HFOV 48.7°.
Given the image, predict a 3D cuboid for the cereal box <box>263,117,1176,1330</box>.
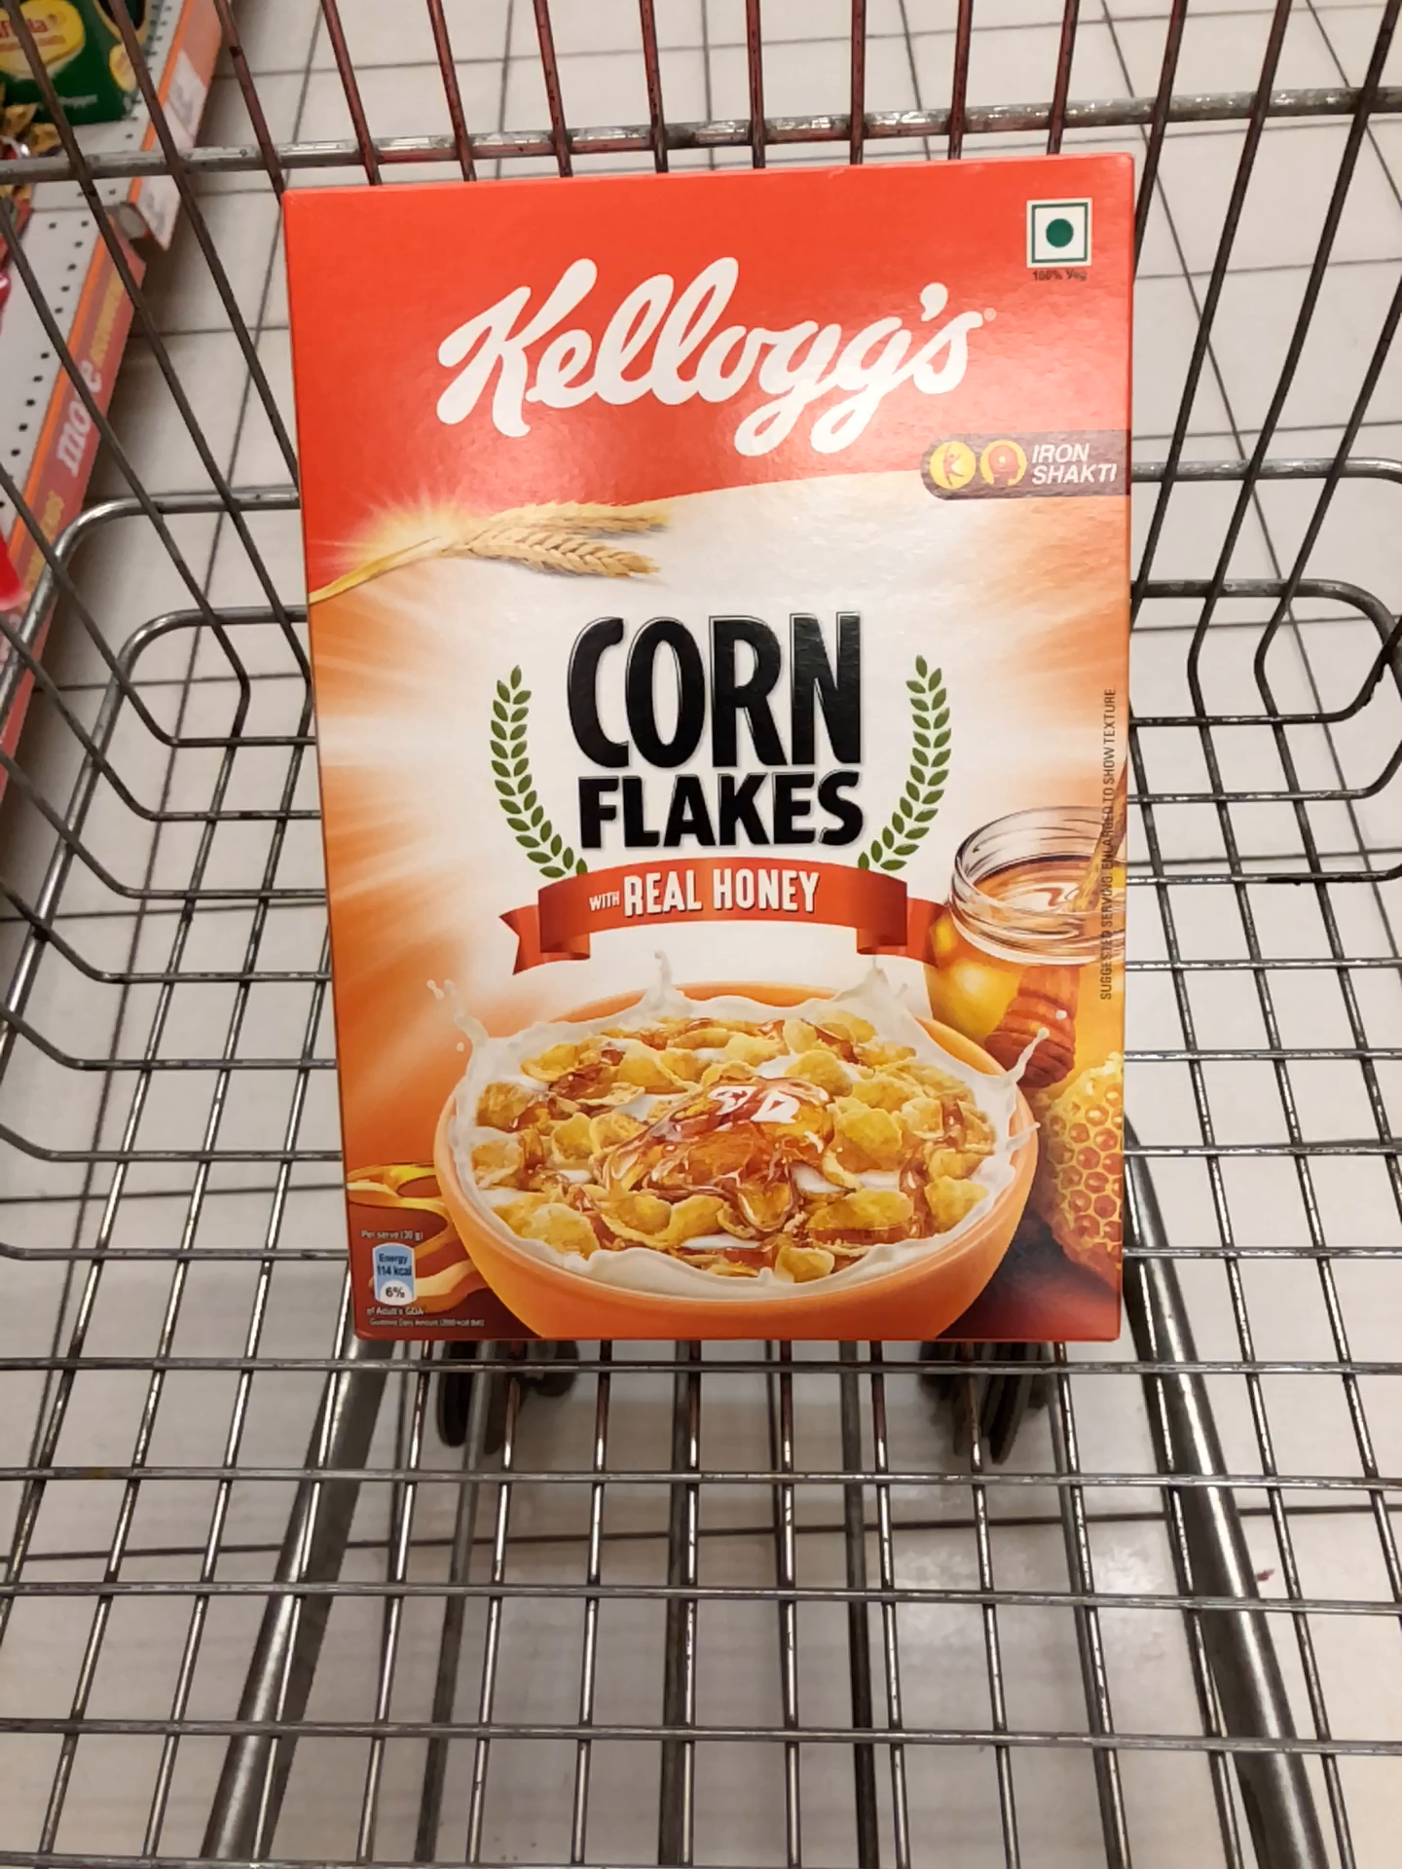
[{"bbox_3d":[0.008,-0.043,0.380,0.190,0.080,0.260,-1,98,4],"label":"cereal box"}]
